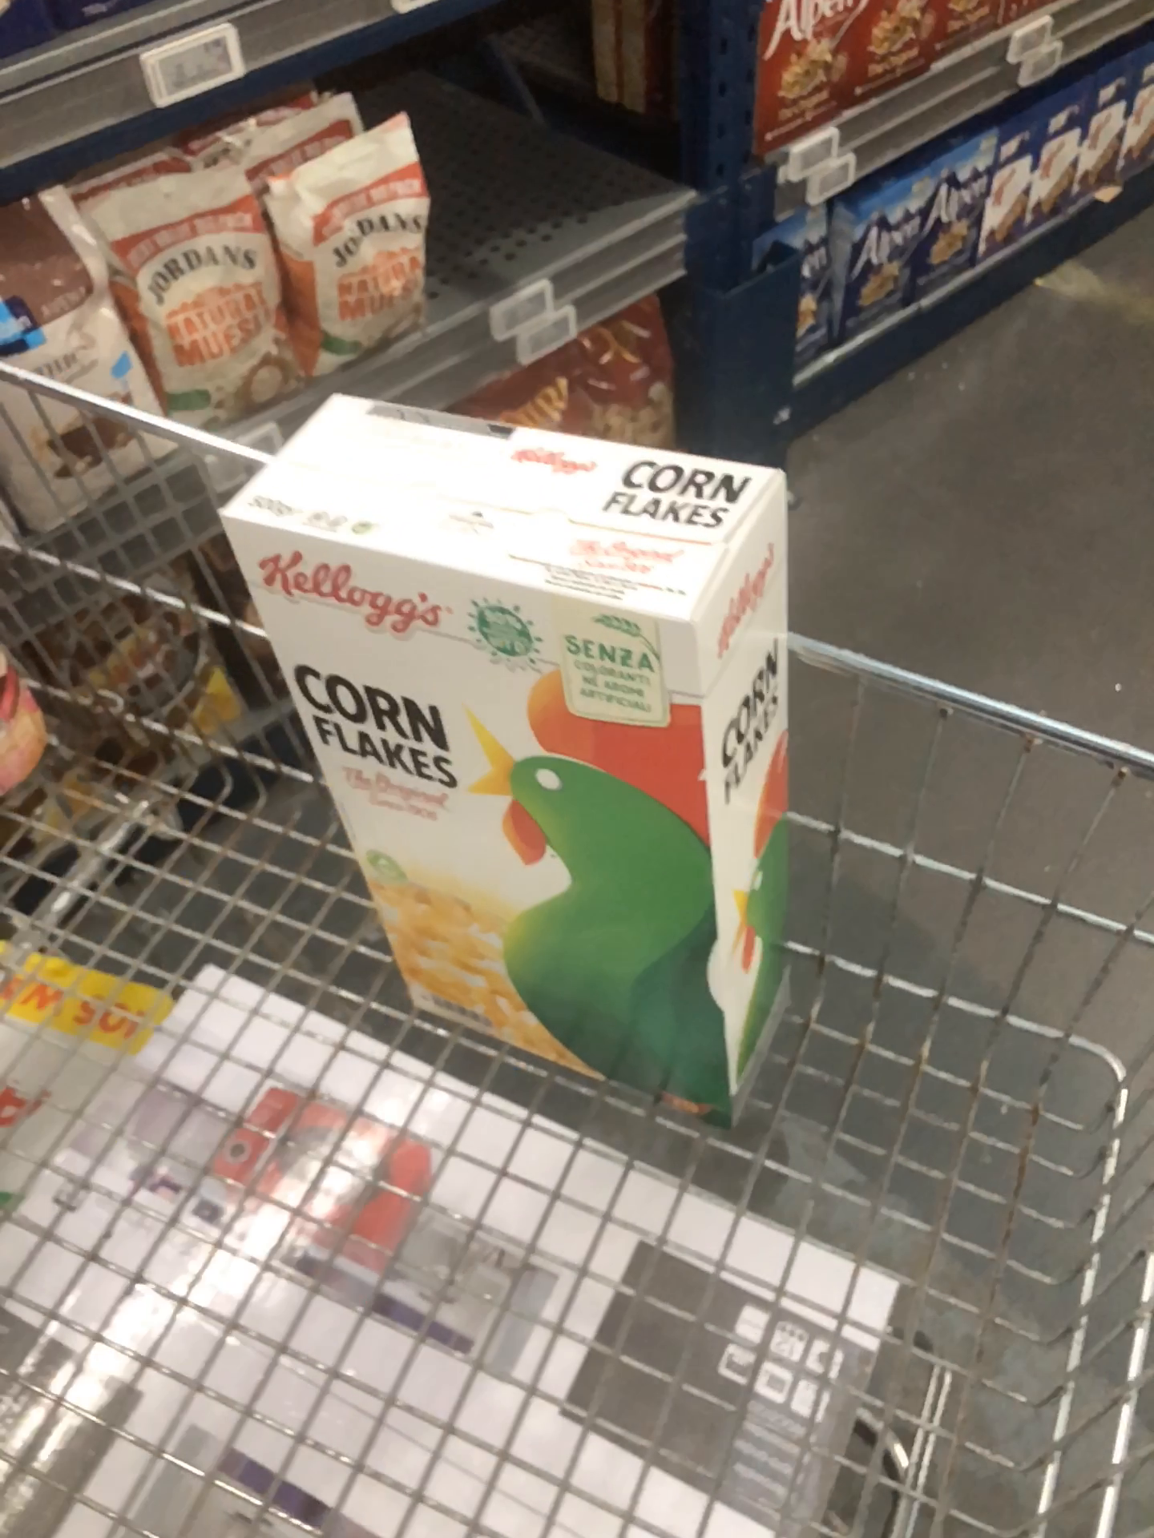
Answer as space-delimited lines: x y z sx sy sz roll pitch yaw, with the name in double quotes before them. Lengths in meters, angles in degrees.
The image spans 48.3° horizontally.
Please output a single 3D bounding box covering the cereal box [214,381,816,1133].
"cereal box" -0.003 0.012 0.564 0.190 0.329 0.090 16 53 22
